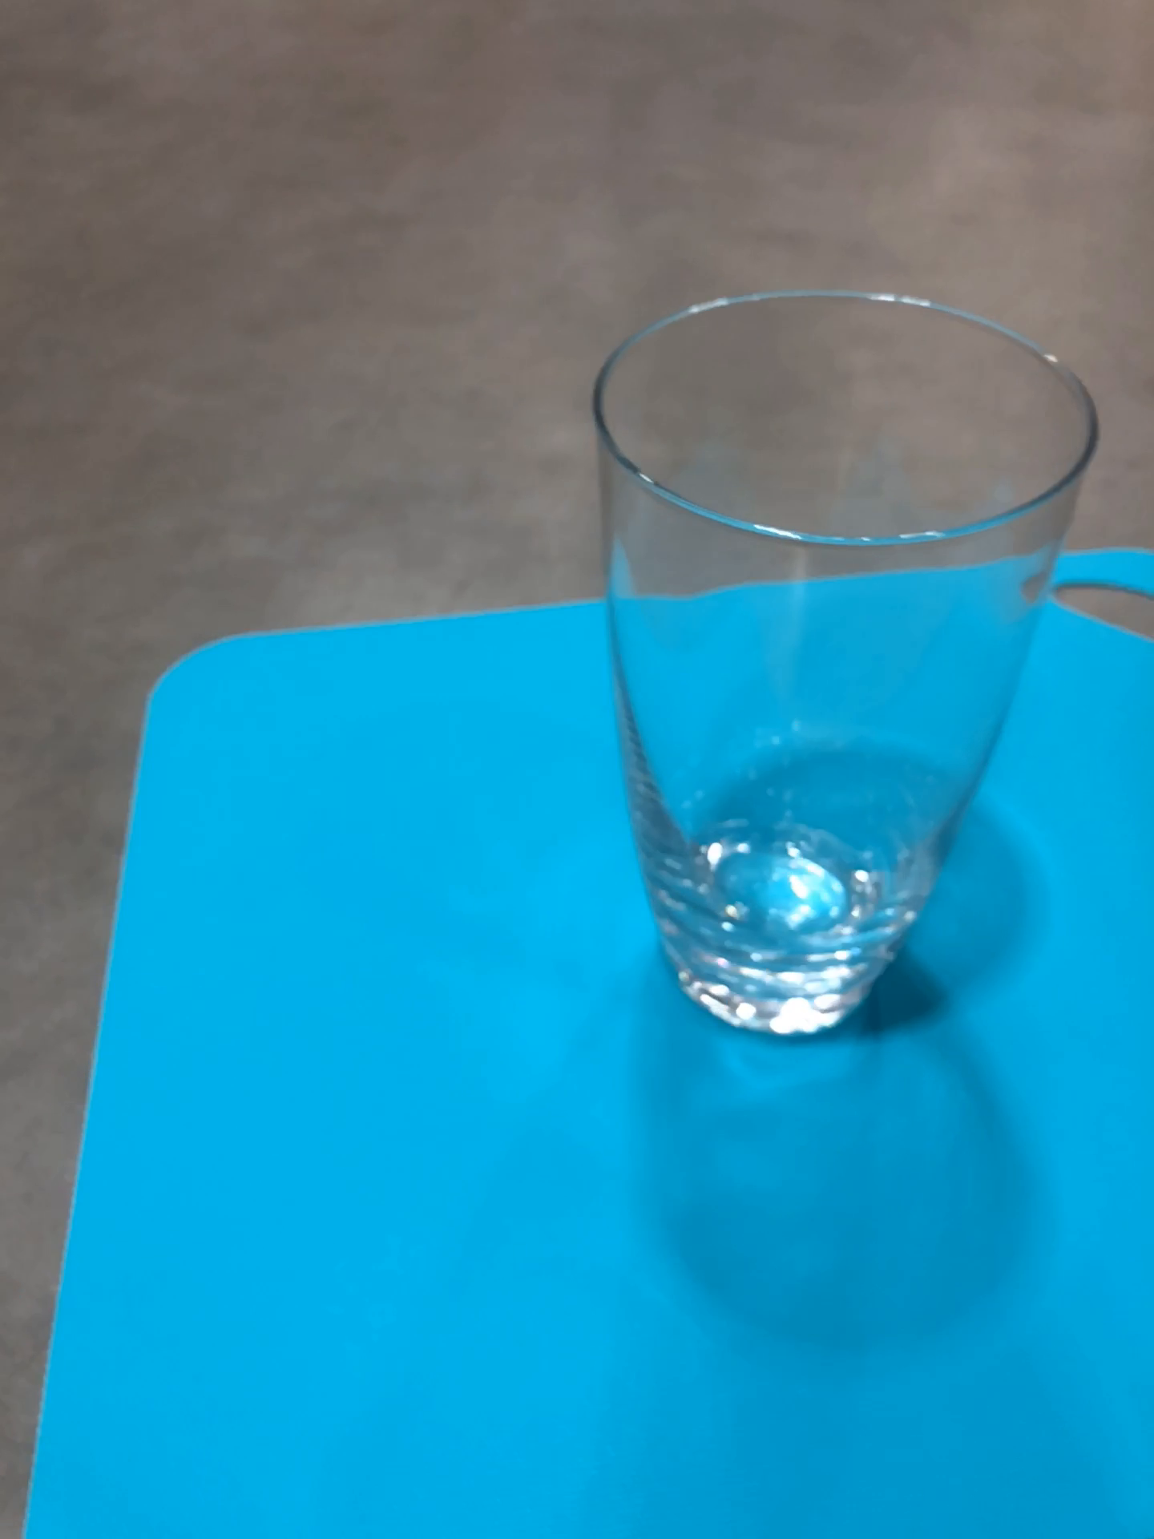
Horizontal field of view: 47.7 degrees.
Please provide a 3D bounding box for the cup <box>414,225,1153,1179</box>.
[{"bbox_3d":[0.042,-0.014,0.292,0.100,0.159,0.100,-1,43,1],"label":"cup"}]
